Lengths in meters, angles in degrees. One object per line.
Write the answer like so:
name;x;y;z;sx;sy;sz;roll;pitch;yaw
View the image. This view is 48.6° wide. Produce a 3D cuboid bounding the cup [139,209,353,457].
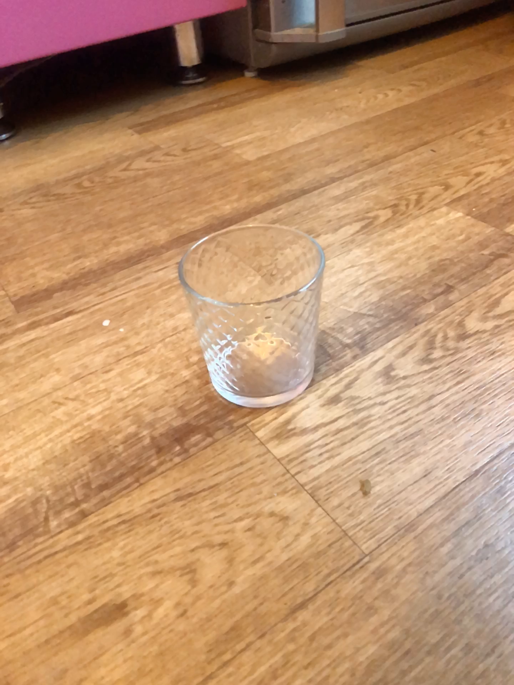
cup;-0.004;-0.008;0.324;0.080;0.090;0.080;-3;40;3
